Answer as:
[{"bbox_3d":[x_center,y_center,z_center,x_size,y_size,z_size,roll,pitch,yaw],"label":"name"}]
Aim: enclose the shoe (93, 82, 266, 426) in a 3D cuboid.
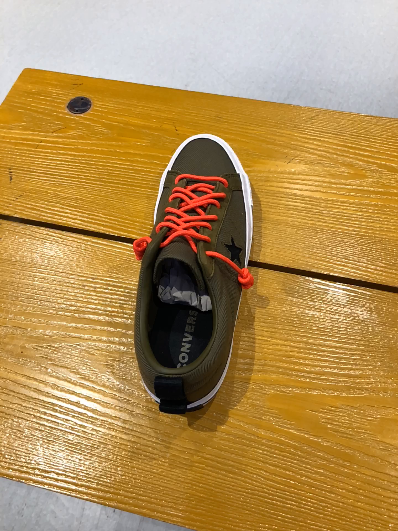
[{"bbox_3d":[-0.002,-0.022,0.397,0.105,0.097,0.293,4,62,4],"label":"shoe"}]
